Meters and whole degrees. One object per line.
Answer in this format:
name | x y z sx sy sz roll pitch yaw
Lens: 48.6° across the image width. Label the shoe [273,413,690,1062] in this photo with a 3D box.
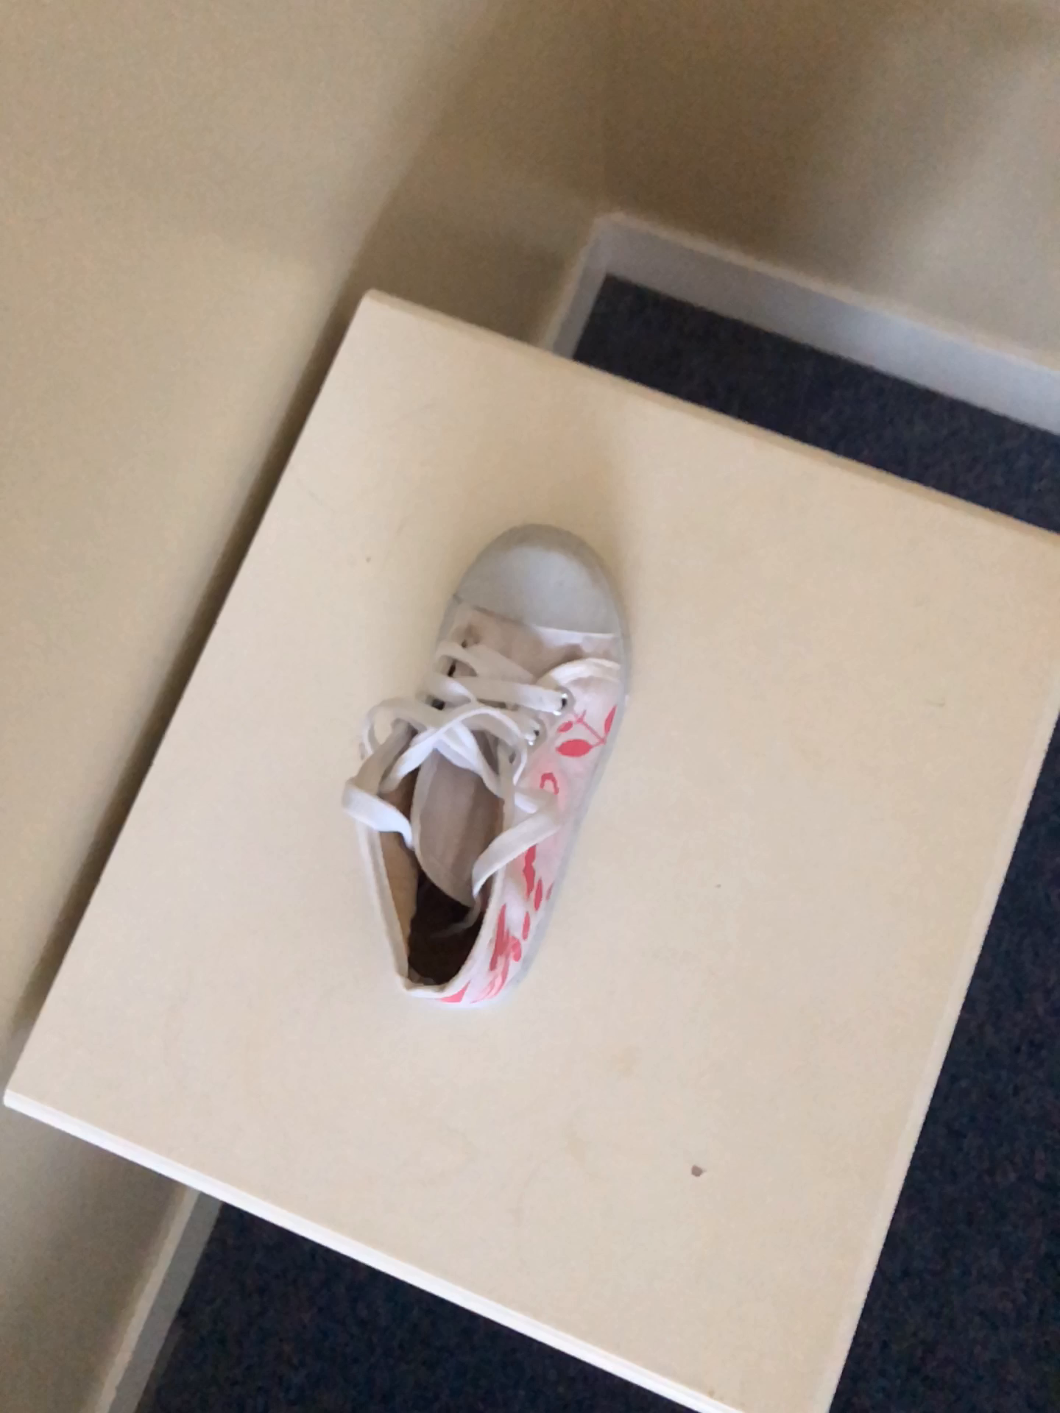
shoe | -0.011 0.013 0.415 0.080 0.100 0.190 15 81 5
